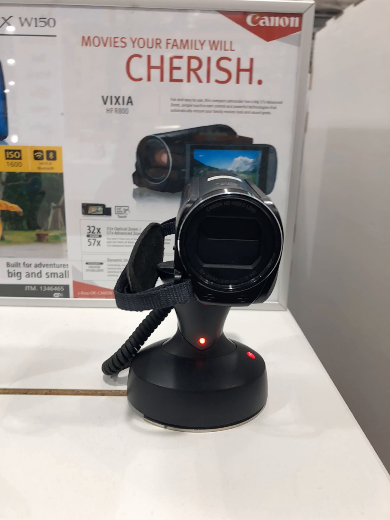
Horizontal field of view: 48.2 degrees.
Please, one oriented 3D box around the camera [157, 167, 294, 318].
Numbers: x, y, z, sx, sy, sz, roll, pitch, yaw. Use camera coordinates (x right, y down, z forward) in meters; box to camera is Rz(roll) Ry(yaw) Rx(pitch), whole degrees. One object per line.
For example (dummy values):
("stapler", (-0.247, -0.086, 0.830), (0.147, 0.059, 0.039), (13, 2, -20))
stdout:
("camera", (0.013, -0.020, 0.262), (0.060, 0.060, 0.130), (2, 16, -1))
